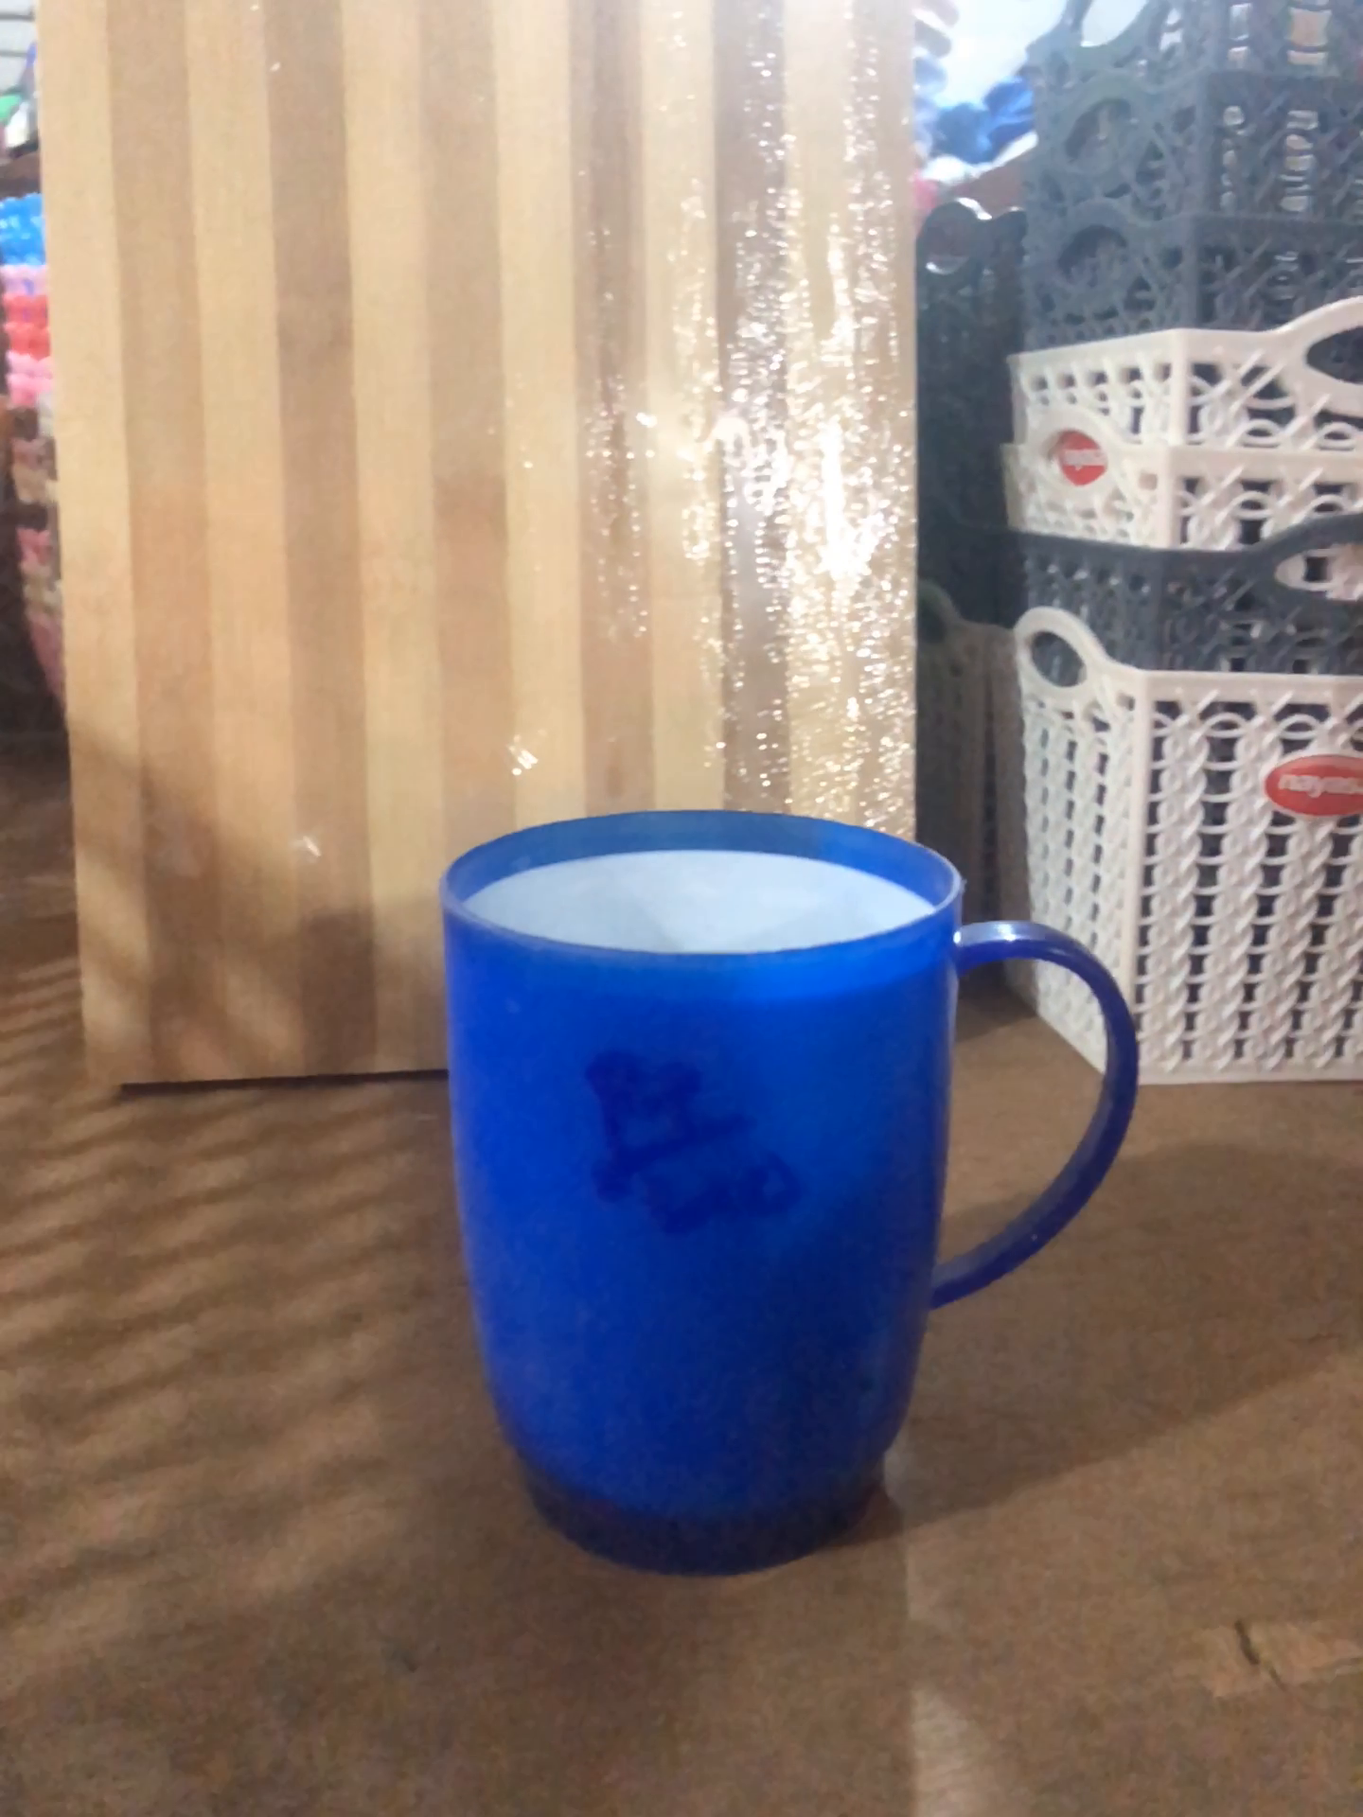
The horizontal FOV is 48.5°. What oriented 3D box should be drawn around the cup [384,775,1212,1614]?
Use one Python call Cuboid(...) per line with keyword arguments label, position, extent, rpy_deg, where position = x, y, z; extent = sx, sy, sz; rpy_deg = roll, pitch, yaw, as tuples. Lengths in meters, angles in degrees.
Cuboid(label="cup", position=(0.014, 0.041, 0.249), extent=(0.110, 0.110, 0.070), rpy_deg=(-2, 18, -5))
